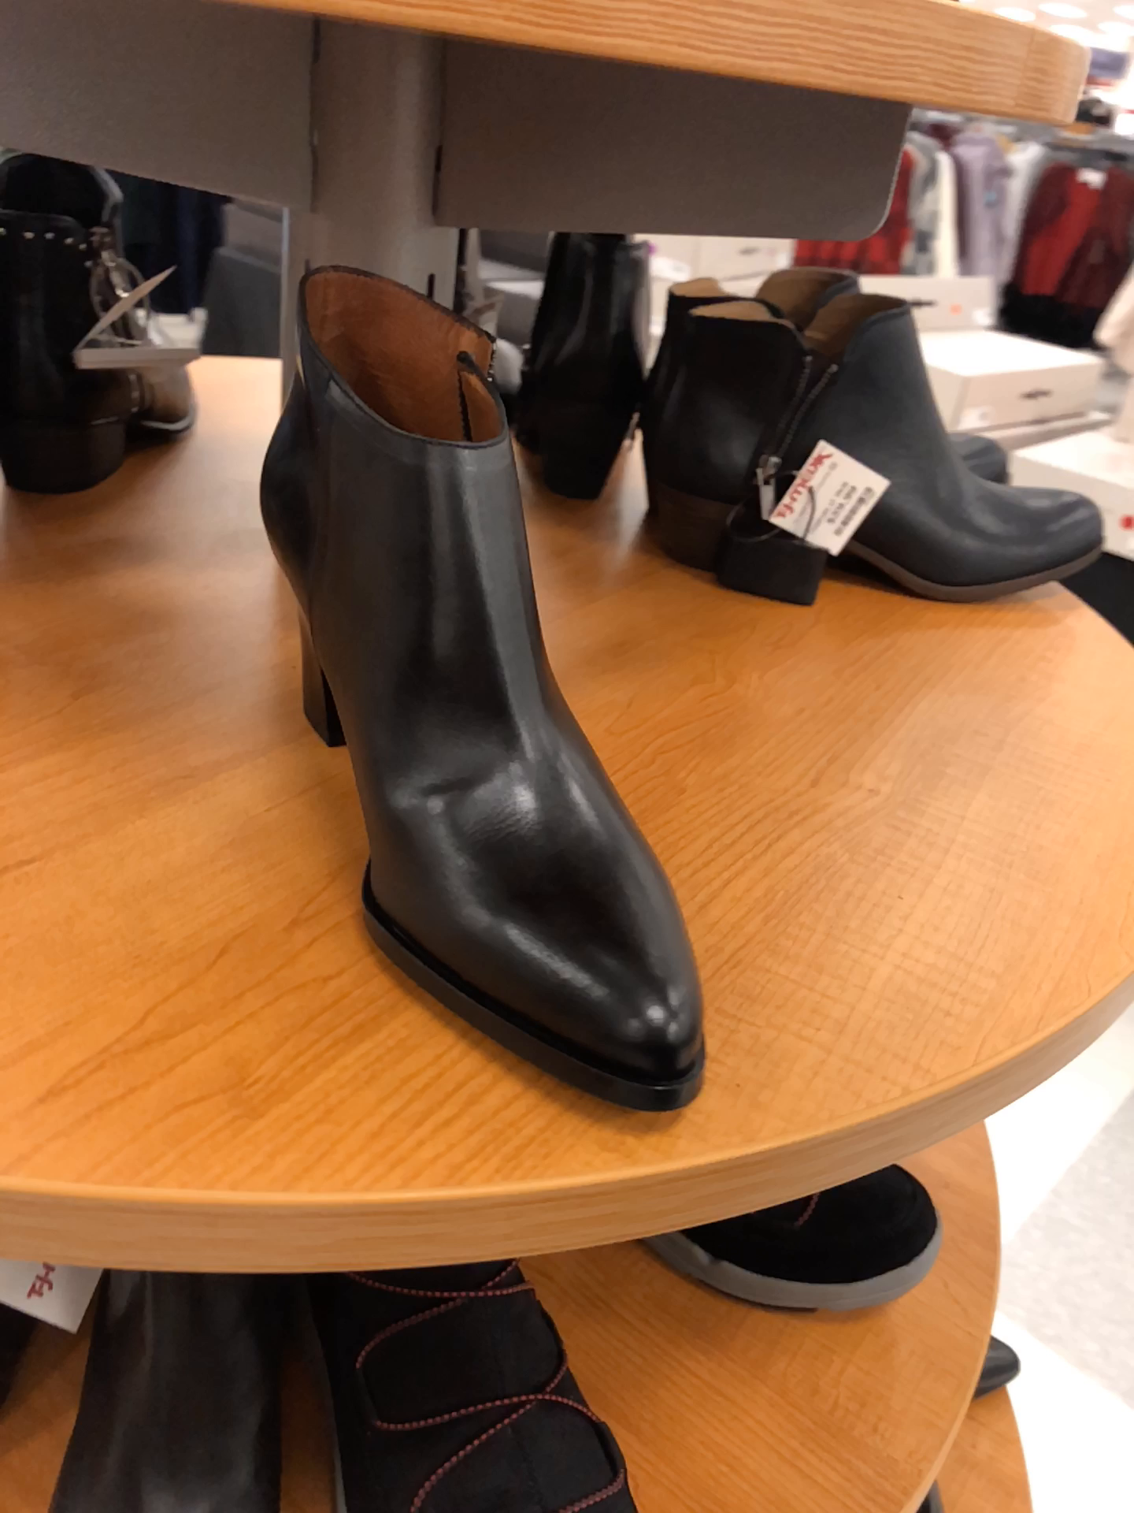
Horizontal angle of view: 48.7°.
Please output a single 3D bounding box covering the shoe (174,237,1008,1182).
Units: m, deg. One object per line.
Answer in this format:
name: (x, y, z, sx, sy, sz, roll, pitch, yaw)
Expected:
shoe: (-0.027, -0.041, 0.364, 0.101, 0.156, 0.258, -10, 34, -30)
